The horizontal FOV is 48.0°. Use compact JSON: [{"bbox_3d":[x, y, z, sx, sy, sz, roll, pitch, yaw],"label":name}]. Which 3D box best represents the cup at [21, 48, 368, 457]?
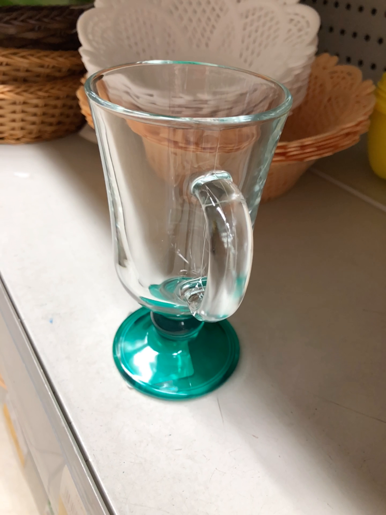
[{"bbox_3d":[-0.012,-0.012,0.183,0.085,0.118,0.108,-12,37,-19],"label":"cup"}]
